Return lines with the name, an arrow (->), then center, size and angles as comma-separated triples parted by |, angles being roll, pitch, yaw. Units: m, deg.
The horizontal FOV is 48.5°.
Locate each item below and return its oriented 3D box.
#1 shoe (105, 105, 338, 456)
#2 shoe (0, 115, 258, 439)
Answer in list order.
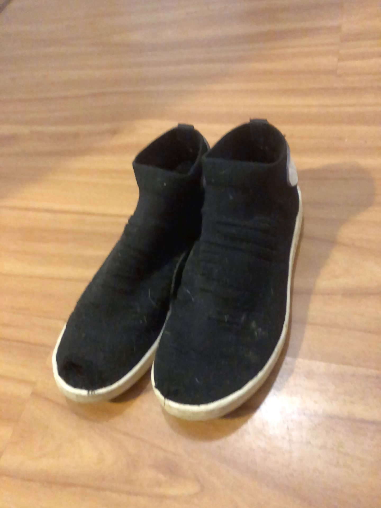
shoe -> 0.047, 0.003, 0.346 | 0.100, 0.099, 0.261 | 9, 57, 21
shoe -> -0.039, 0.005, 0.378 | 0.100, 0.099, 0.261 | 16, 60, 25
